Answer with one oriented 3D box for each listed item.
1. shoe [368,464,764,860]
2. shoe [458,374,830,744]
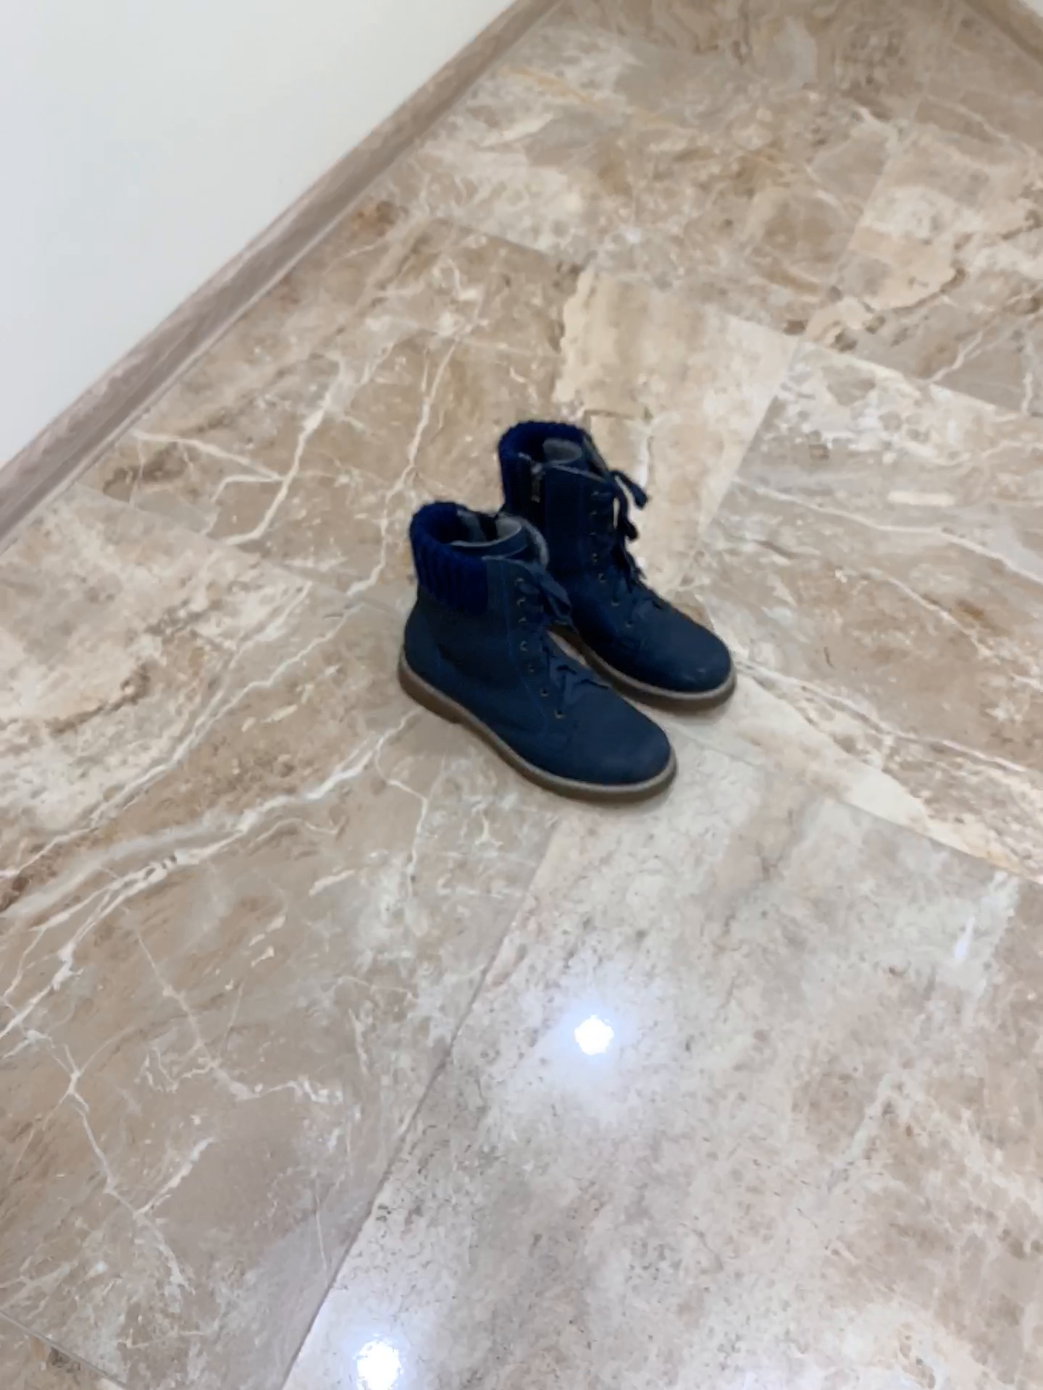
[{"bbox_3d":[0.022,-0.021,0.826,0.260,0.199,0.102,29,57,14],"label":"shoe"},{"bbox_3d":[0.087,-0.109,0.896,0.260,0.199,0.102,29,57,14],"label":"shoe"}]
